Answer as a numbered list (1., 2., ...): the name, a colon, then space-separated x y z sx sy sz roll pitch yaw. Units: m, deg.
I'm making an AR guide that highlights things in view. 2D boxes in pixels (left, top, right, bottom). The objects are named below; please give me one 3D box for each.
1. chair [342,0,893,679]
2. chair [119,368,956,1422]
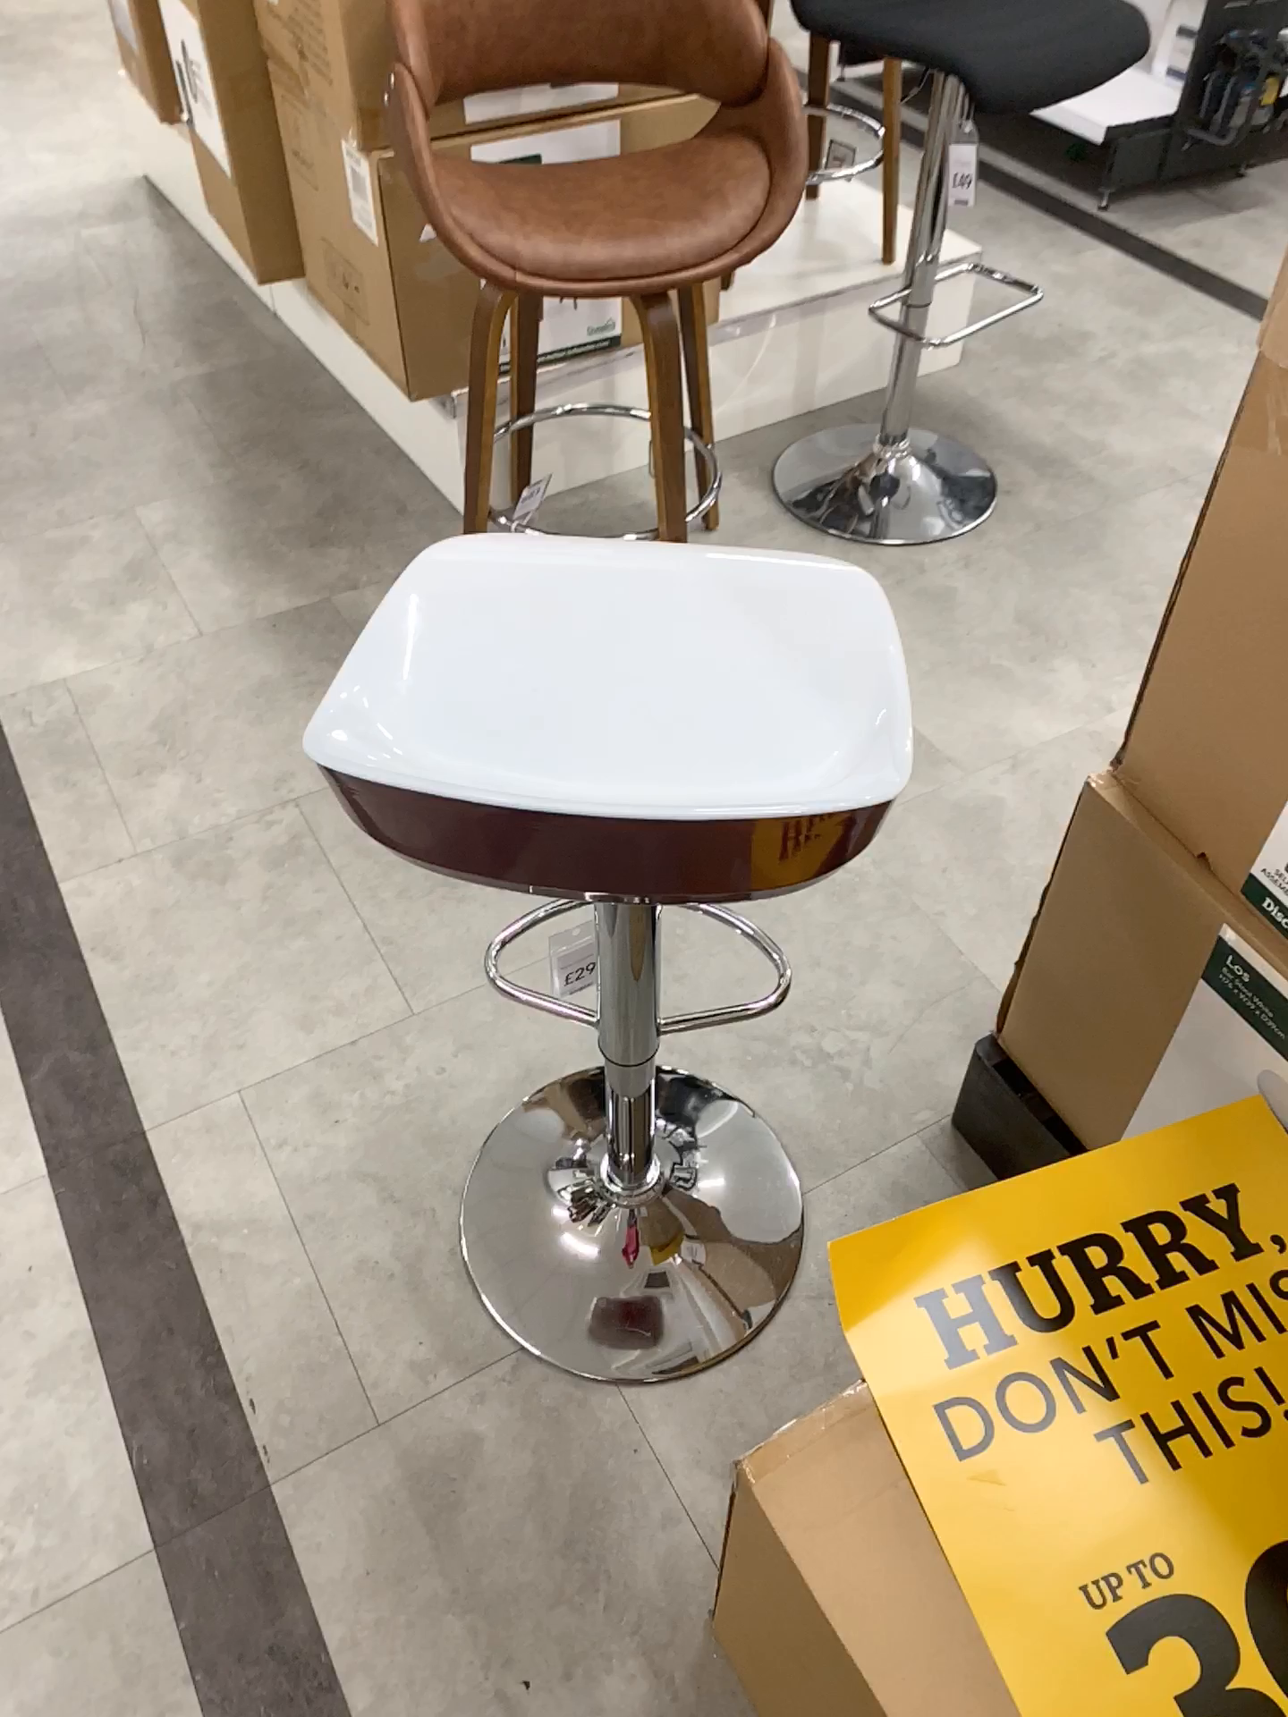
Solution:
1. chair: -0.066 -0.841 2.035 0.643 0.926 0.527 -7 46 -7
2. chair: -0.038 0.077 1.132 0.443 0.797 0.456 4 46 4
